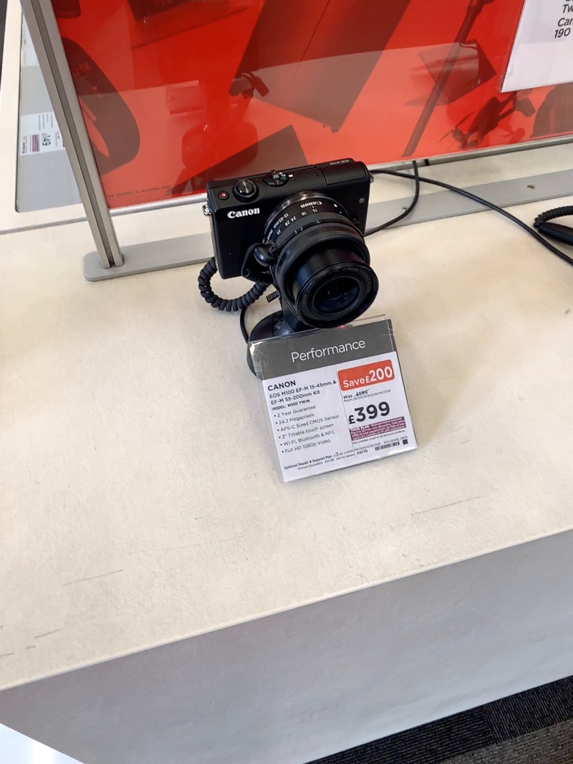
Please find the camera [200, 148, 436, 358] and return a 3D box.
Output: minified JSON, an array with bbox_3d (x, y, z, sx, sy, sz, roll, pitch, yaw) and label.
[{"bbox_3d":[0.016,-0.089,0.394,0.120,0.069,0.101,-14,52,-11],"label":"camera"}]
